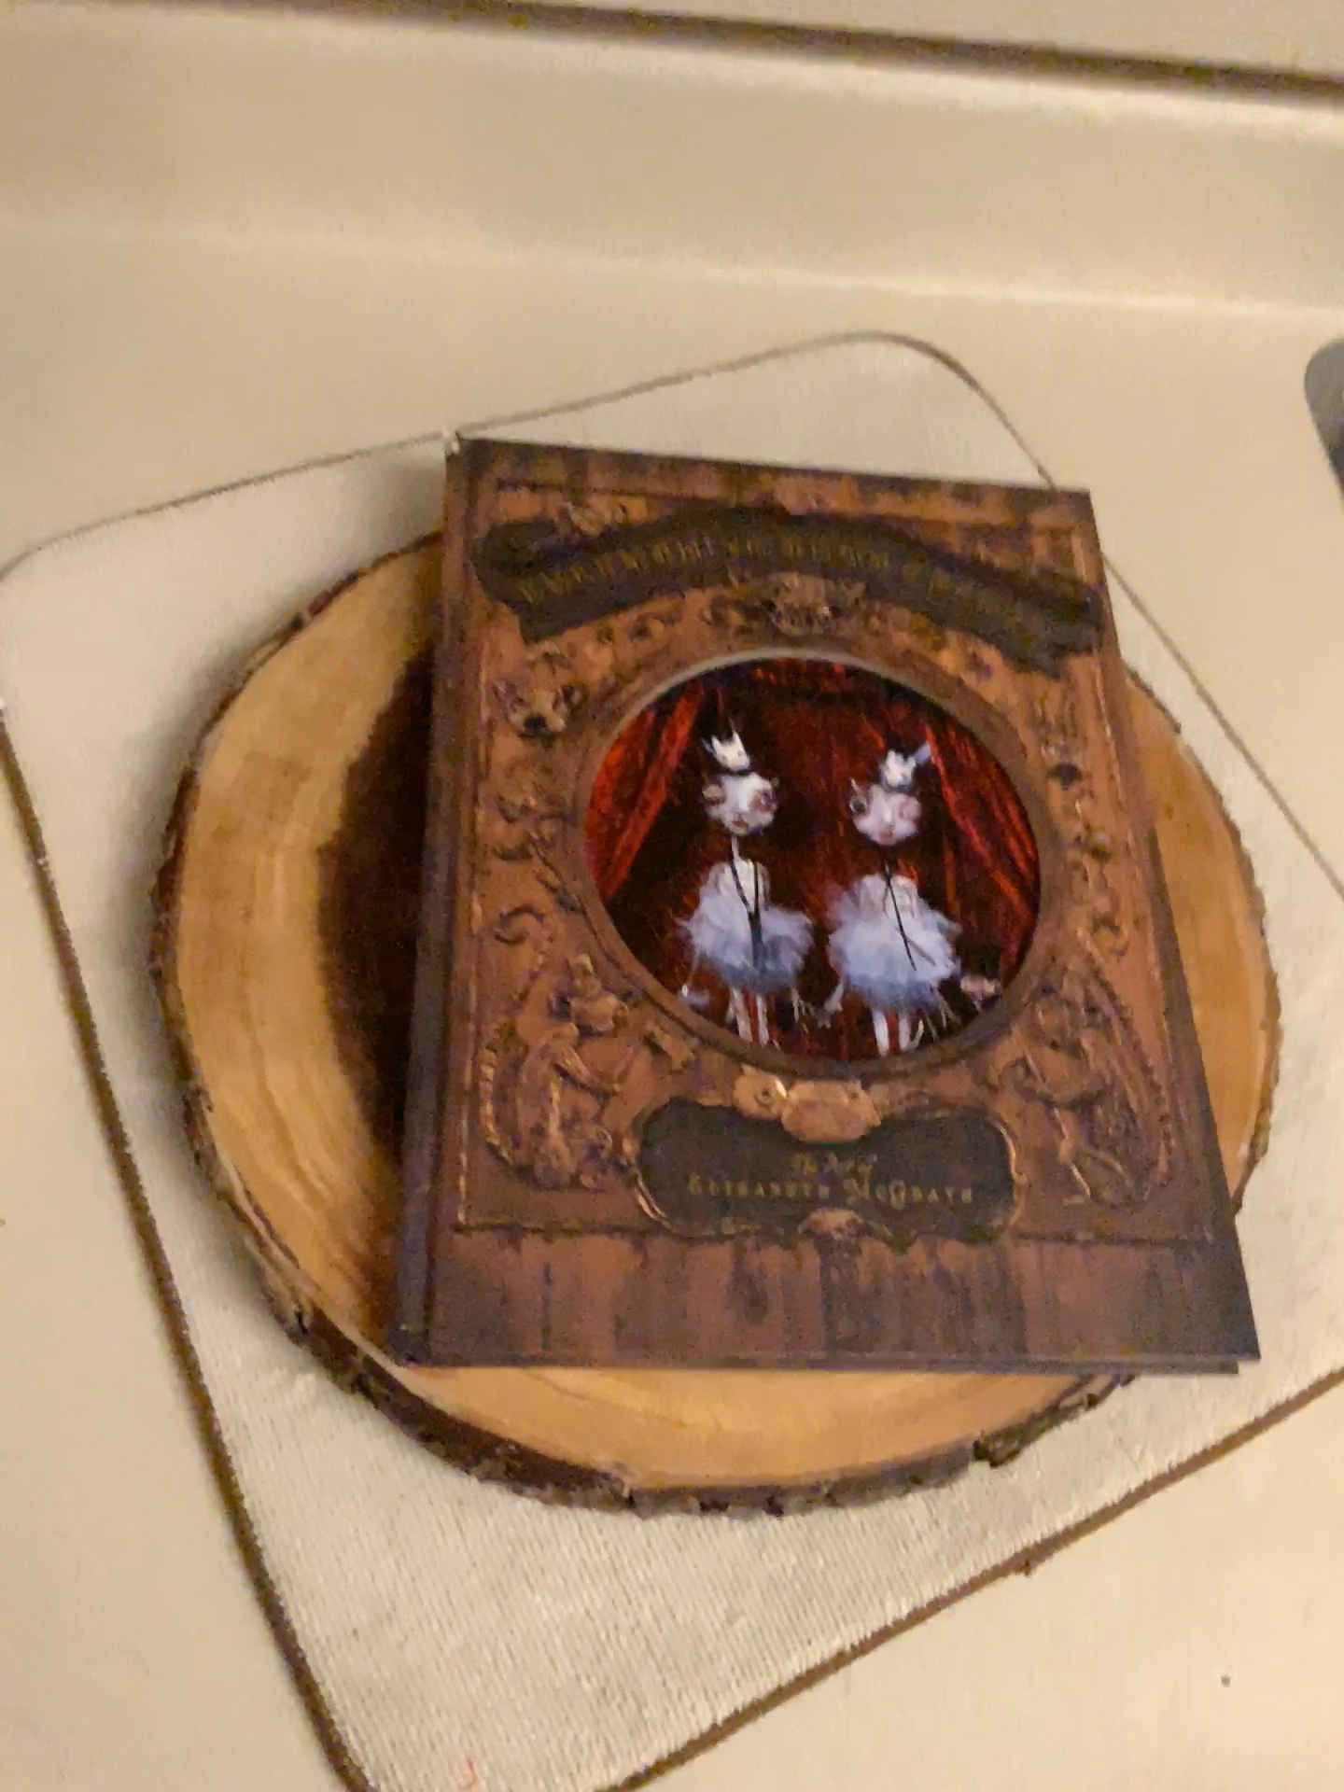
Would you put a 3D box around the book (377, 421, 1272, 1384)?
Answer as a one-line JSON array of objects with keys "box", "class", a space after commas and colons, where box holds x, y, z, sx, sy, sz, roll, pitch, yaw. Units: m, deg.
[{"box": [0.038, -0.013, 0.458, 0.230, 0.020, 0.310, 3, 61, -8], "class": "book"}]
